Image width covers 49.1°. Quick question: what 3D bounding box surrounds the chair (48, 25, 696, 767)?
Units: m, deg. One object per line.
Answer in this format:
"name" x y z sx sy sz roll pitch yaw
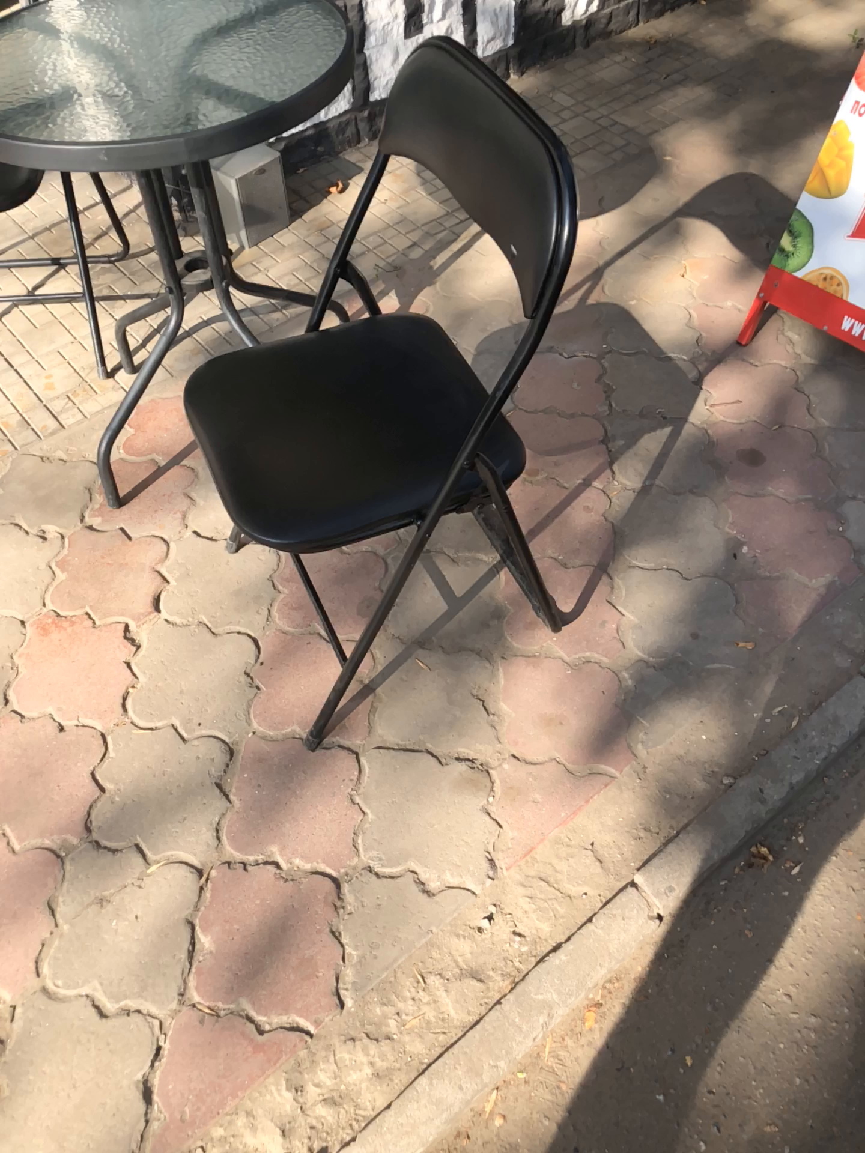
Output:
"chair" -0.083 -0.227 1.220 0.500 0.638 0.532 -22 52 -15
